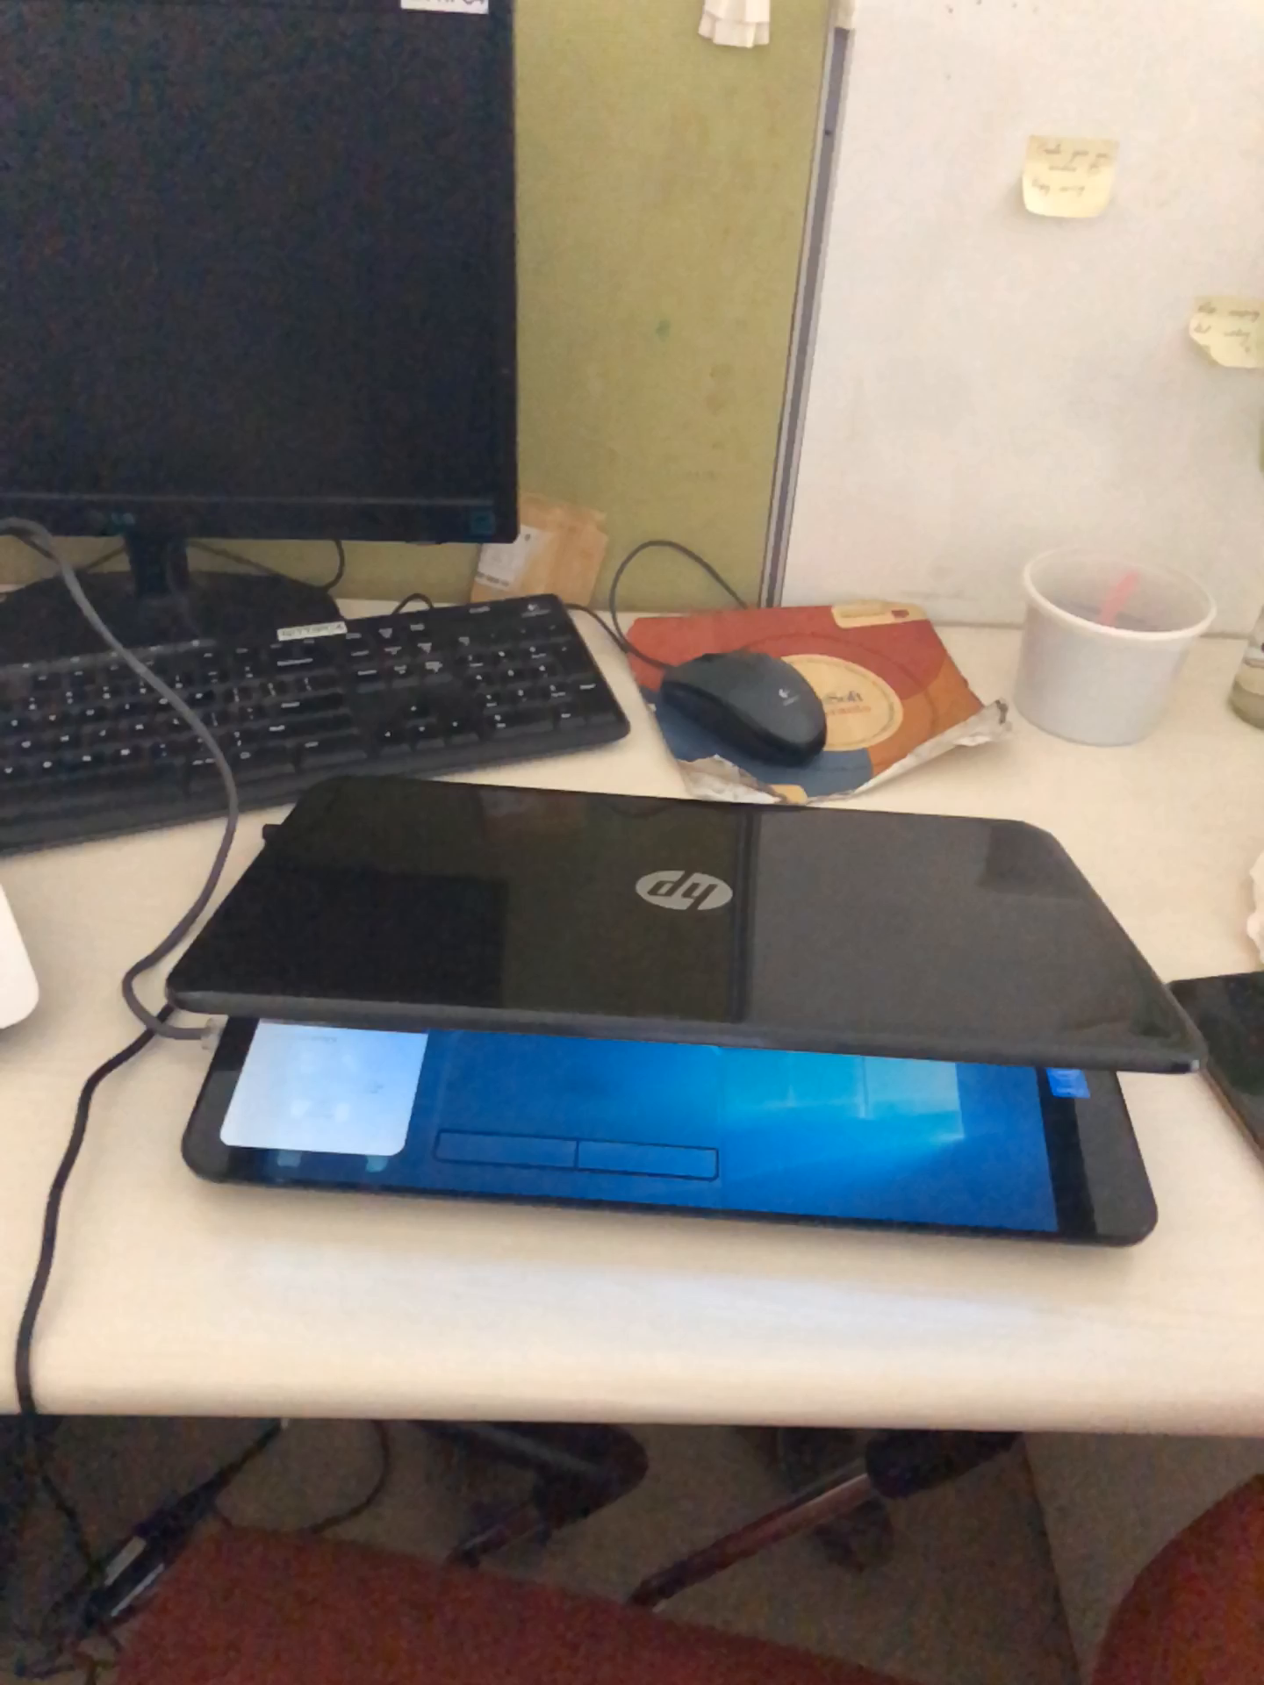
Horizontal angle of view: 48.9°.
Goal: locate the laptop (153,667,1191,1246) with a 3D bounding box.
[{"bbox_3d":[0.020,0.033,0.586,0.350,0.072,0.247,4,38,0],"label":"laptop"}]
